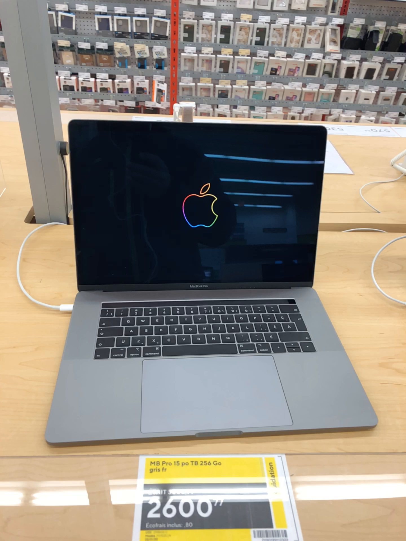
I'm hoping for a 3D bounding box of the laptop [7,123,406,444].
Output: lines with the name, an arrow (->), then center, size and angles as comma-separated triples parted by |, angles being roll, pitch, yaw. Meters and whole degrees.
laptop -> 0.010, -0.012, 0.510 | 0.329, 0.212, 0.299 | -1, 36, -7
